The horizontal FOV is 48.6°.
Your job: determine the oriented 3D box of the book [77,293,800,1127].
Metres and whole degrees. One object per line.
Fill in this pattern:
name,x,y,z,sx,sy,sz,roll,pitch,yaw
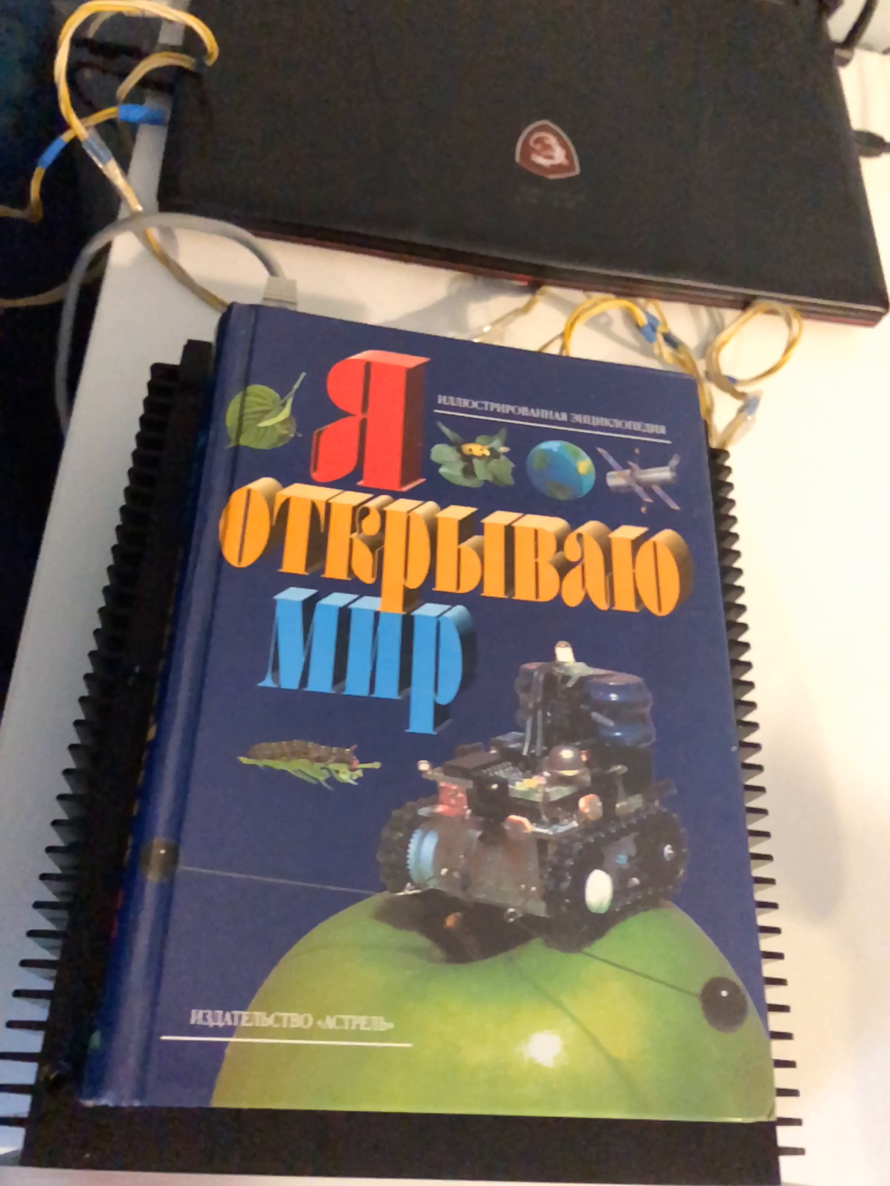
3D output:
book,0.006,0.025,0.321,0.186,0.030,0.256,7,62,-9
